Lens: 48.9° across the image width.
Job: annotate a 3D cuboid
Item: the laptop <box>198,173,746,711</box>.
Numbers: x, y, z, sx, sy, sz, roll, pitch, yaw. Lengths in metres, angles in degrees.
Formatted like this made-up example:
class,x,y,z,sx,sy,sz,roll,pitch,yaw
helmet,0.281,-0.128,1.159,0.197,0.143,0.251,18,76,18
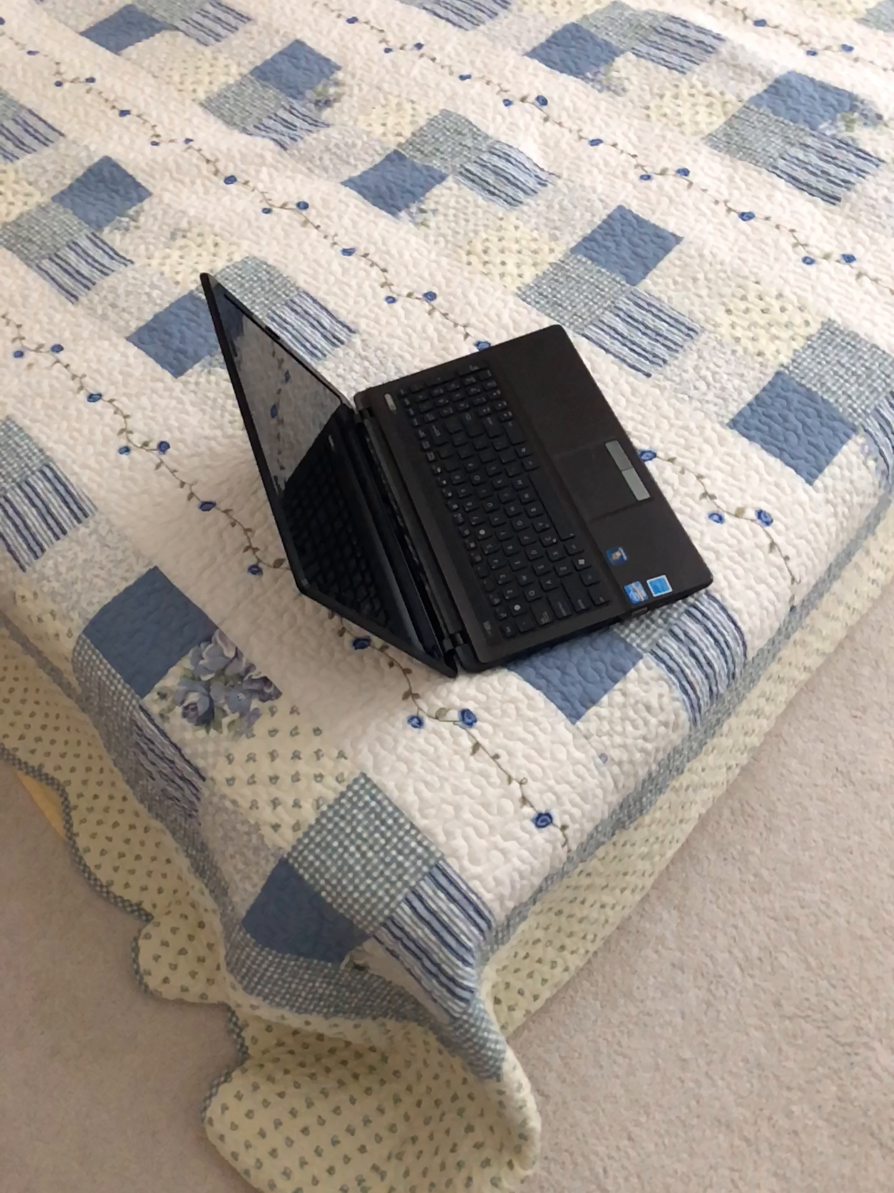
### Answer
class,x,y,z,sx,sy,sz,roll,pitch,yaw
laptop,0.008,-0.149,0.887,0.350,0.193,0.359,-19,58,-7
